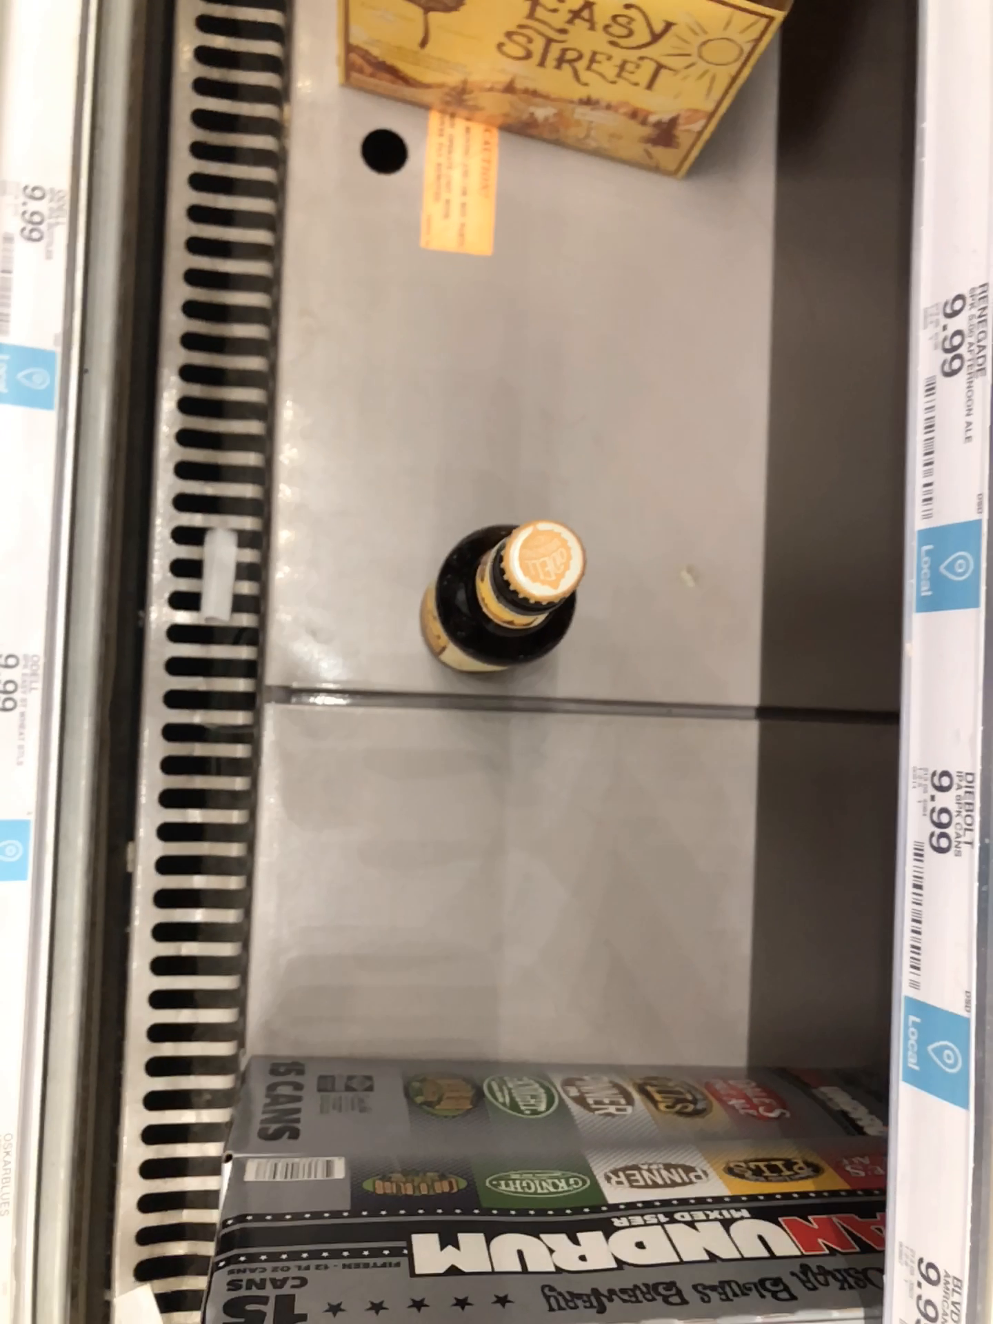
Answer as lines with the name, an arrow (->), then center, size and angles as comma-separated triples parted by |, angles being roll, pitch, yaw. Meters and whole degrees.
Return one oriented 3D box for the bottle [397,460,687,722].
bottle -> 0.005, -0.019, 0.475 | 0.070, 0.230, 0.065 | 0, 88, -7
